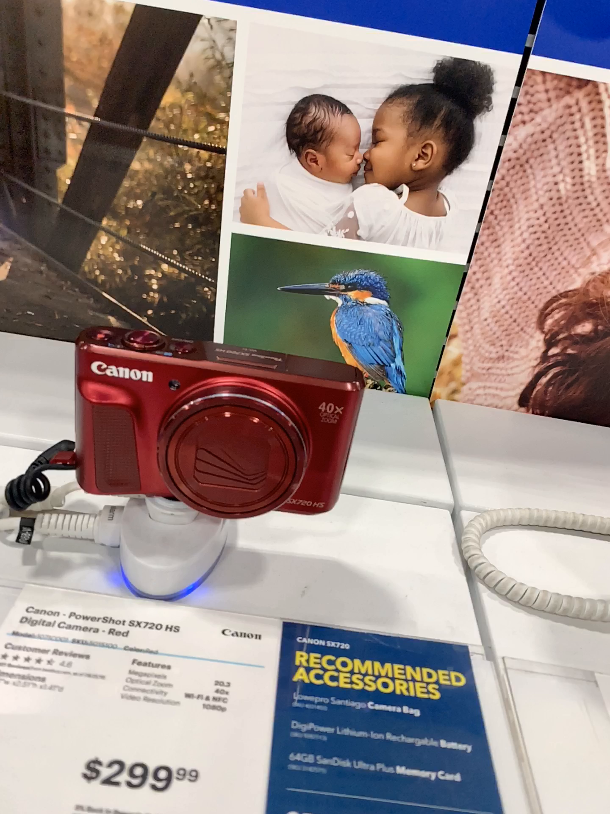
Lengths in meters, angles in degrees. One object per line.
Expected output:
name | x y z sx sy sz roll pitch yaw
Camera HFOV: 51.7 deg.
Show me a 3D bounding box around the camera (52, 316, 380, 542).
camera | -0.034 0.009 0.240 0.110 0.060 0.037 9 28 -4
